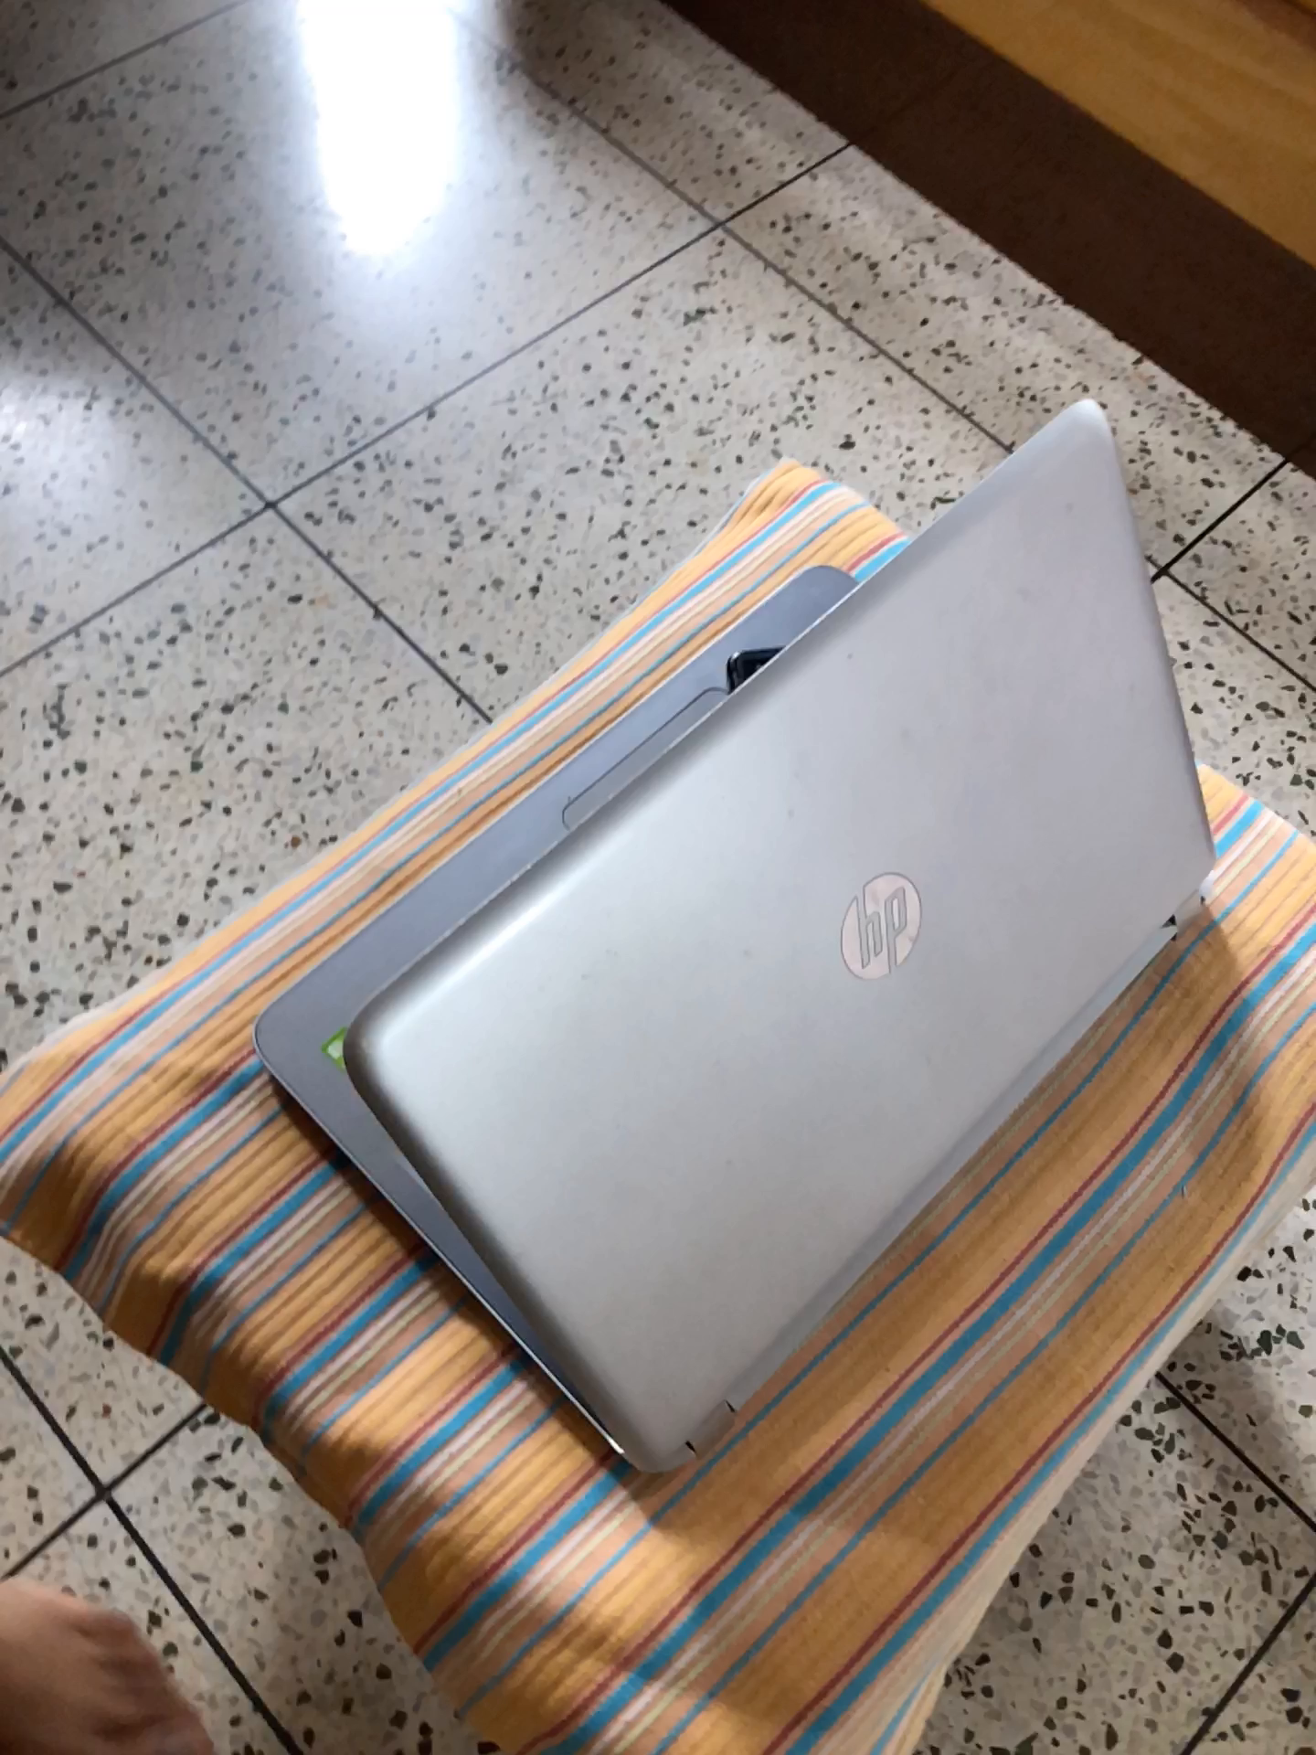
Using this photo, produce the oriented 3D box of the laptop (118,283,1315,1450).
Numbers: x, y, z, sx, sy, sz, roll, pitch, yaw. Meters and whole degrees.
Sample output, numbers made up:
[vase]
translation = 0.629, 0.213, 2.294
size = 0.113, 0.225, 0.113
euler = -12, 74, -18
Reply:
[laptop]
translation = 0.036, -0.011, 0.577
size = 0.372, 0.184, 0.237
euler = -41, 73, -21
